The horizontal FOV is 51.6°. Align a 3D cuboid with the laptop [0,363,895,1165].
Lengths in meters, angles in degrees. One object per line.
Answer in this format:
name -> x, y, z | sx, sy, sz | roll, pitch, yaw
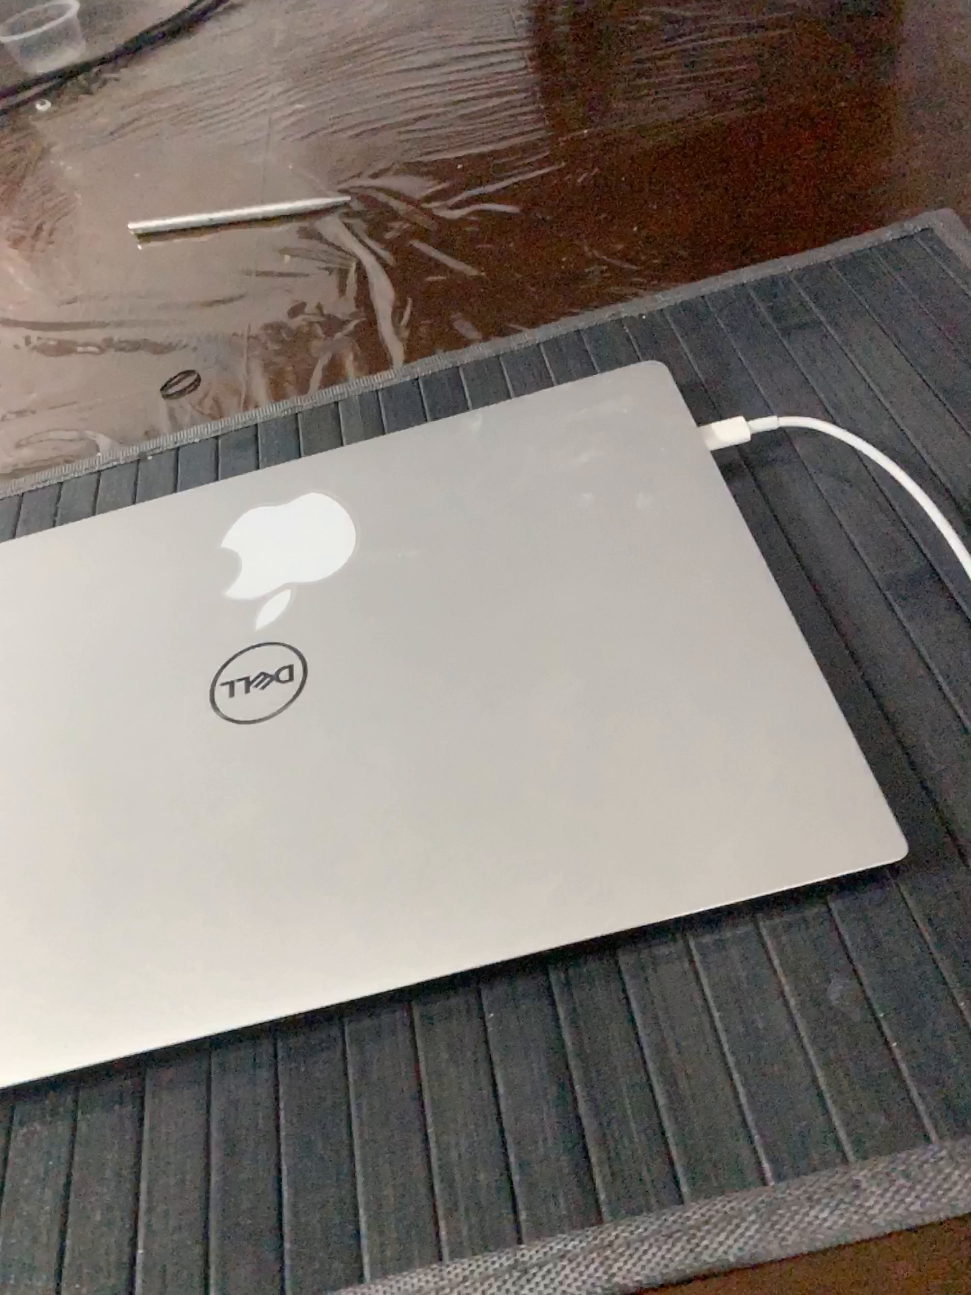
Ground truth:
laptop -> -0.061, 0.011, 0.280 | 0.271, 0.001, 0.189 | -15, 49, 3
